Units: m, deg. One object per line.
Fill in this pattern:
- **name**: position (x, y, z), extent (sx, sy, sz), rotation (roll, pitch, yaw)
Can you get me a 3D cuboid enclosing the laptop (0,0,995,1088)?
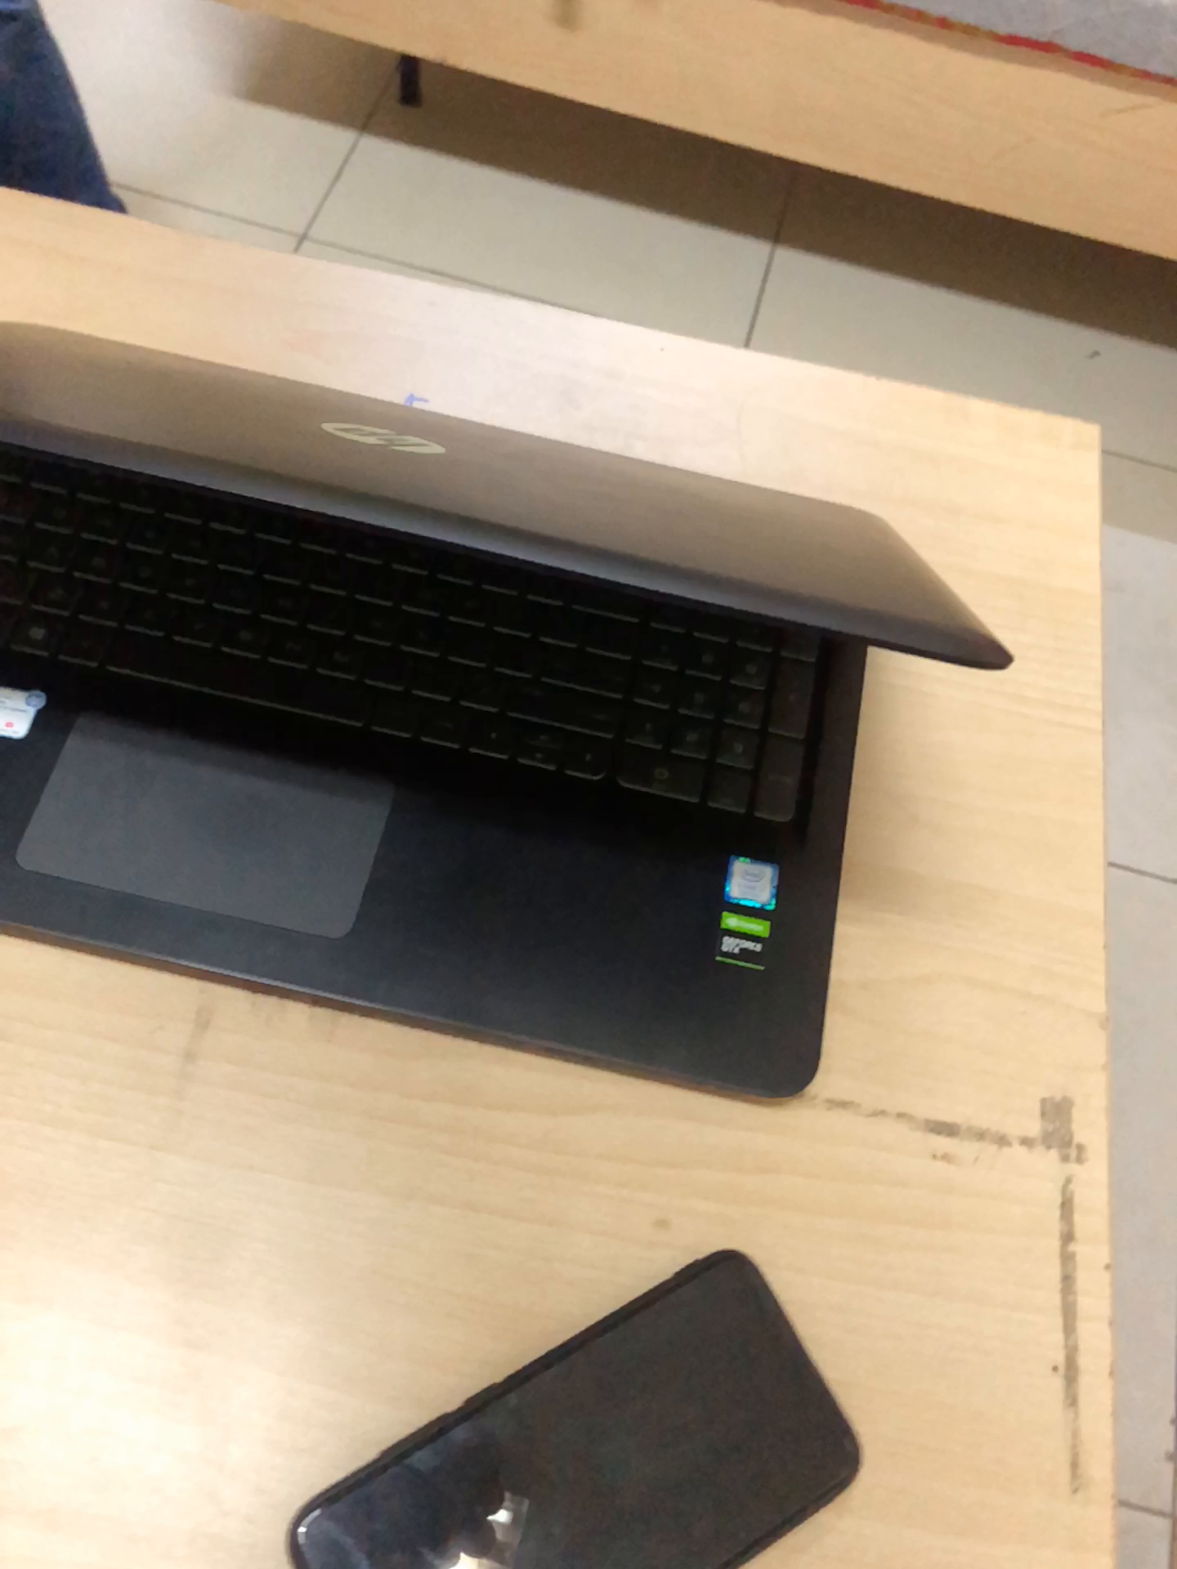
- **laptop**: position (-0.080, -0.076, 0.421), extent (0.359, 0.167, 0.231), rotation (12, 61, 1)
